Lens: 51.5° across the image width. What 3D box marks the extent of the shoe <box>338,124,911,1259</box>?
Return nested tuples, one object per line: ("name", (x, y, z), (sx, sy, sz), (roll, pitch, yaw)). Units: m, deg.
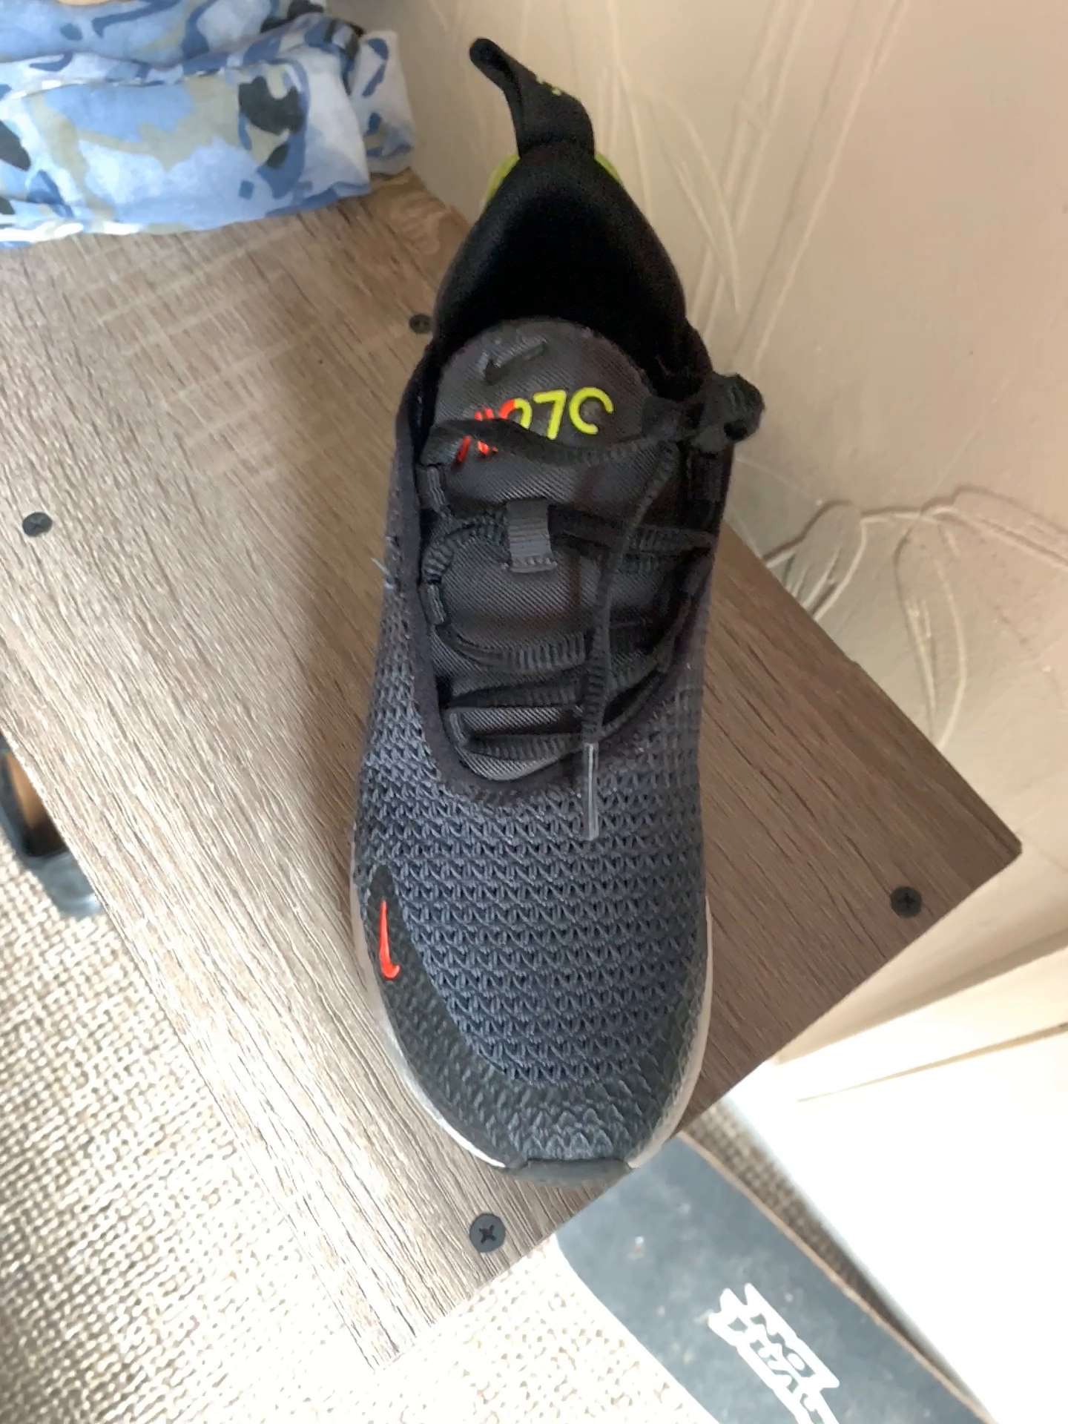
("shoe", (0.011, -0.007, 0.273), (0.090, 0.109, 0.248), (1, 66, -3))
